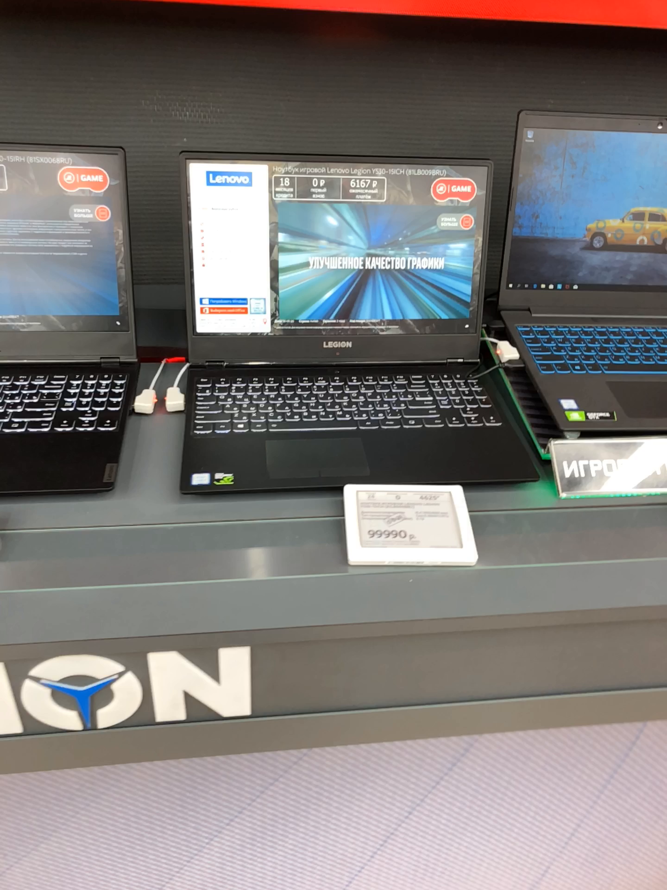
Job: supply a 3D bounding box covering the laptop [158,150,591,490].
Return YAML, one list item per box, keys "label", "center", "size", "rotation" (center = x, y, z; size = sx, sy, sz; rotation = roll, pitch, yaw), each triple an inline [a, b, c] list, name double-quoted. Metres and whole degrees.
- label: "laptop"
  center: [0.018, -0.146, 0.766]
  size: [0.352, 0.225, 0.302]
  rotation: [-1, 36, -7]

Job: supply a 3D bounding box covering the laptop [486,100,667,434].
- label: "laptop"
  center: [0.404, -0.218, 0.839]
  size: [0.354, 0.225, 0.336]
  rotation: [0, 39, -5]

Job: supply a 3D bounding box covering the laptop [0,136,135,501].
- label: "laptop"
  center: [-0.397, -0.140, 0.717]
  size: [0.353, 0.223, 0.316]
  rotation: [-2, 35, -9]
